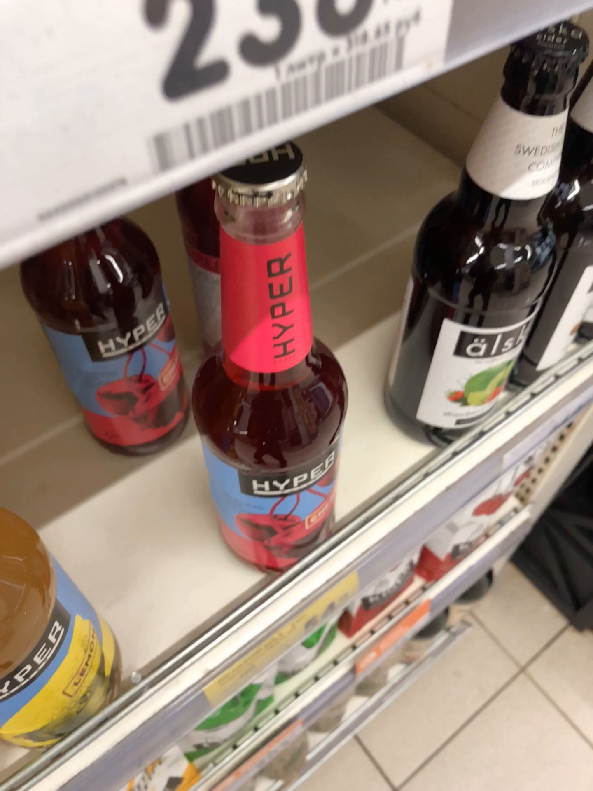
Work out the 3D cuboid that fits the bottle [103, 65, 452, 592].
[{"bbox_3d":[-0.008,-0.001,0.294,0.080,0.243,0.070,-22,58,-15],"label":"bottle"}]
